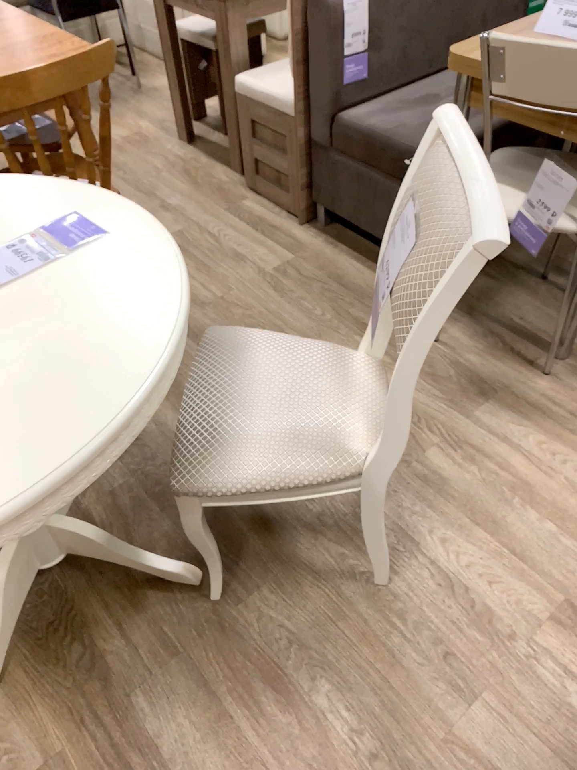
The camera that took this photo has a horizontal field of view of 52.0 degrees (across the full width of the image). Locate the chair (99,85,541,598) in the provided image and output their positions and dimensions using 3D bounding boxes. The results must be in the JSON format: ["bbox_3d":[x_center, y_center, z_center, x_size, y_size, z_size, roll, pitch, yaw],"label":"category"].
[{"bbox_3d":[0.048,-0.014,1.168,0.510,0.906,0.462,-3,46,1],"label":"chair"}]
